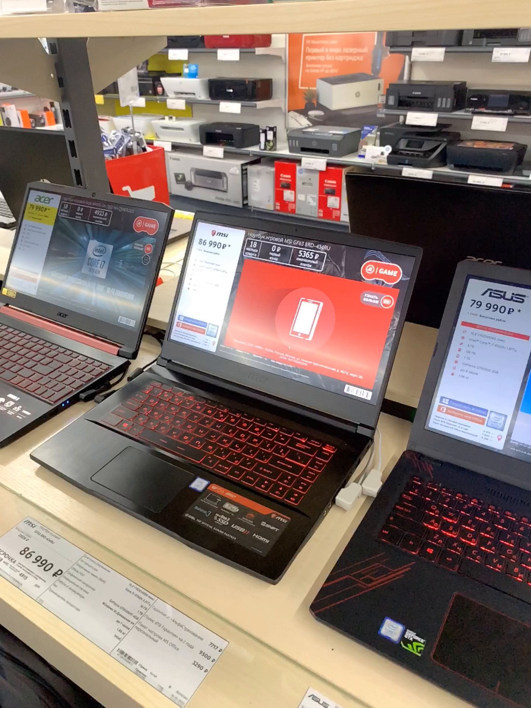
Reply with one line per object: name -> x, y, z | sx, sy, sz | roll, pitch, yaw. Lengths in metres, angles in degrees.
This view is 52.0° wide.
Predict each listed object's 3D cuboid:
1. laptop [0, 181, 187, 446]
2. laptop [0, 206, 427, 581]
laptop -> -0.384, -0.100, 0.835 | 0.334, 0.211, 0.372 | 17, 35, 29
laptop -> -0.045, -0.006, 0.671 | 0.351, 0.204, 0.371 | 16, 36, 27
